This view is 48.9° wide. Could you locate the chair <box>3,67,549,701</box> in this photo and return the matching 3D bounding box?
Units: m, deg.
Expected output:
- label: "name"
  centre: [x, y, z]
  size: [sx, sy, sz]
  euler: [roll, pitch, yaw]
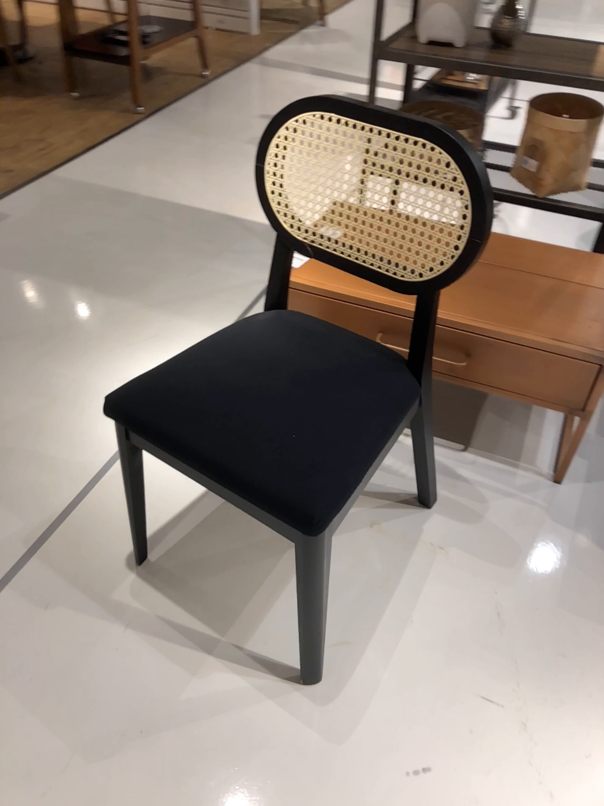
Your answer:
- label: "chair"
  centre: [-0.015, -0.035, 1.141]
  size: [0.501, 0.804, 0.543]
  euler: [25, 46, 23]
